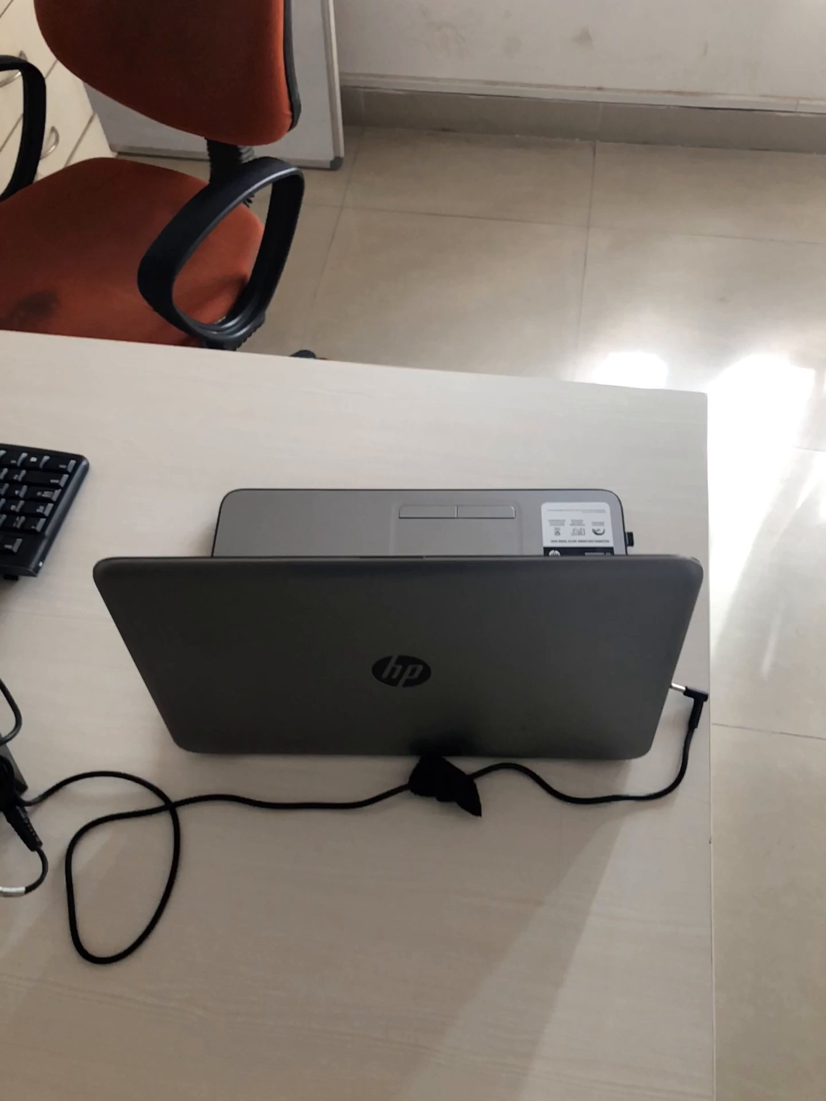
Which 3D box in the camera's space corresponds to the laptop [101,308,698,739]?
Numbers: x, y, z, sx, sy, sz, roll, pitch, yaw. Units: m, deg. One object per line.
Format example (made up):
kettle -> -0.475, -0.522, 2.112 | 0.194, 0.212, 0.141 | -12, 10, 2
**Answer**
laptop -> -0.004, -0.010, 0.677 | 0.350, 0.227, 0.216 | 1, 62, 5
